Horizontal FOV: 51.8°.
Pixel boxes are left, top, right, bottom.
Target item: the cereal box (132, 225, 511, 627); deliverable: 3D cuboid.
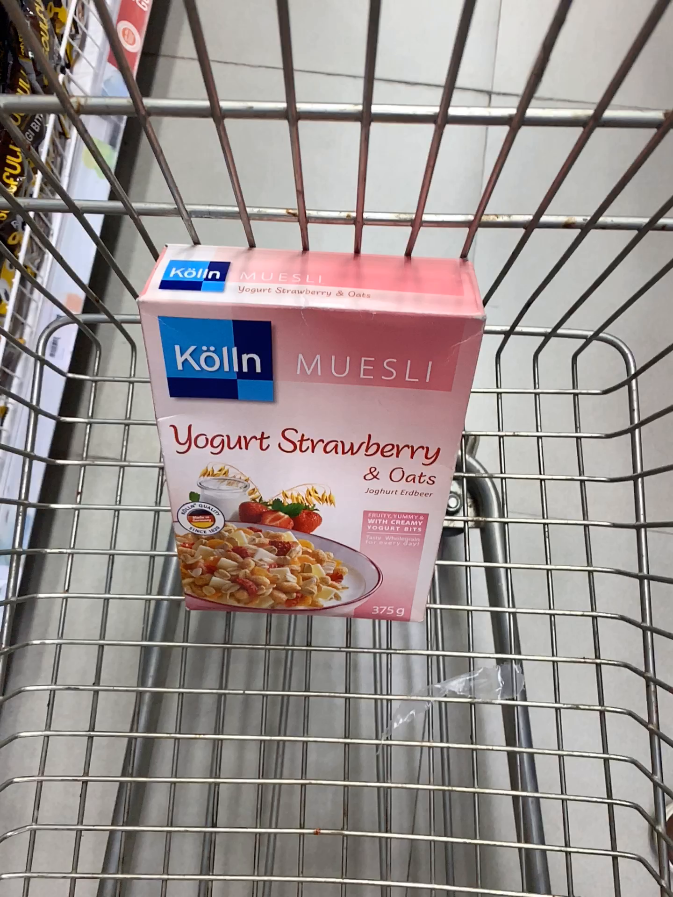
[{"bbox_3d":[-0.009,0.003,0.364,0.150,0.220,0.050,3,40,0],"label":"cereal box"}]
